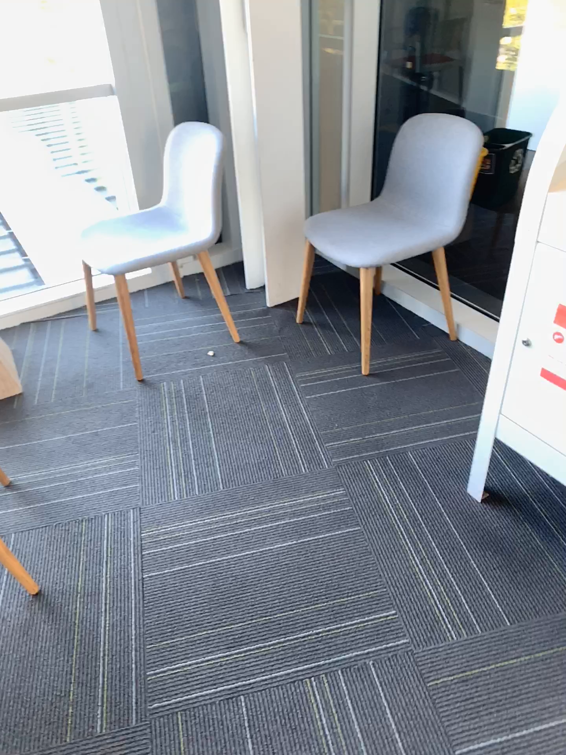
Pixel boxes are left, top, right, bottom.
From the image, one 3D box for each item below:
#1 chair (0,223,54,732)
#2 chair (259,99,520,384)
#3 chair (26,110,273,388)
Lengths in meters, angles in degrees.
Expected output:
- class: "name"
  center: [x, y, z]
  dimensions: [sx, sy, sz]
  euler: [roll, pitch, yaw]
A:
- class: "chair"
  center: [-0.975, 0.179, 1.286]
  dimensions: [0.560, 0.765, 0.603]
  euler: [-22, 40, -24]
- class: "chair"
  center: [0.357, -0.547, 2.182]
  dimensions: [0.600, 0.765, 0.644]
  euler: [-23, 41, -26]
- class: "chair"
  center: [-0.484, -0.524, 2.204]
  dimensions: [0.600, 0.745, 0.644]
  euler: [-23, 41, -26]
